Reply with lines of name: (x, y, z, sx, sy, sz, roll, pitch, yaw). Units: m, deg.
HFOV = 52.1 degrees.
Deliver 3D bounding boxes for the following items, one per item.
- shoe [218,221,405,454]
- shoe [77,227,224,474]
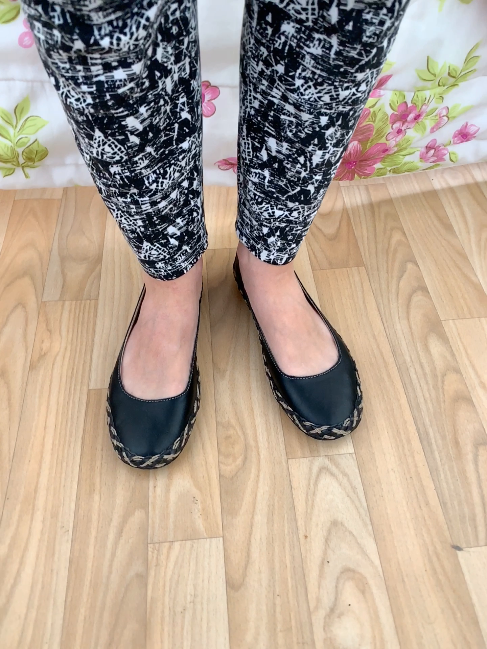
shoe: (0.061, 0.001, 0.549, 0.100, 0.060, 0.251, -17, 56, -11)
shoe: (-0.085, 0.016, 0.538, 0.100, 0.070, 0.266, 3, 54, 3)
